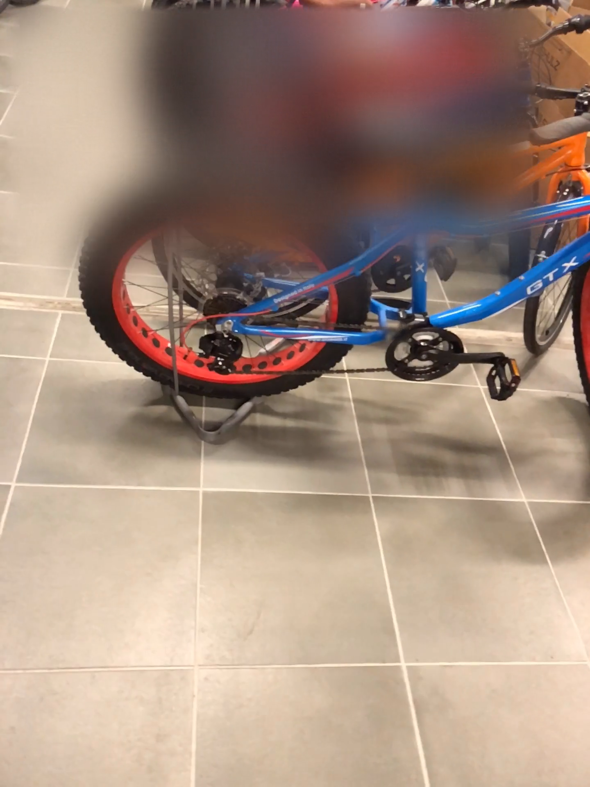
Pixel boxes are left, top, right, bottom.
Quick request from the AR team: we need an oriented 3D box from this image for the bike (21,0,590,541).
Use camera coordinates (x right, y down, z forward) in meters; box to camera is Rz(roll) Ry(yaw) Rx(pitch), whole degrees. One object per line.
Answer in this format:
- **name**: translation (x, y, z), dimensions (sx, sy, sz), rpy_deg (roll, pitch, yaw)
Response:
- **bike**: translation (0.286, -0.247, 1.410), dimensions (1.467, 1.023, 0.617), rpy_deg (4, 44, -11)
